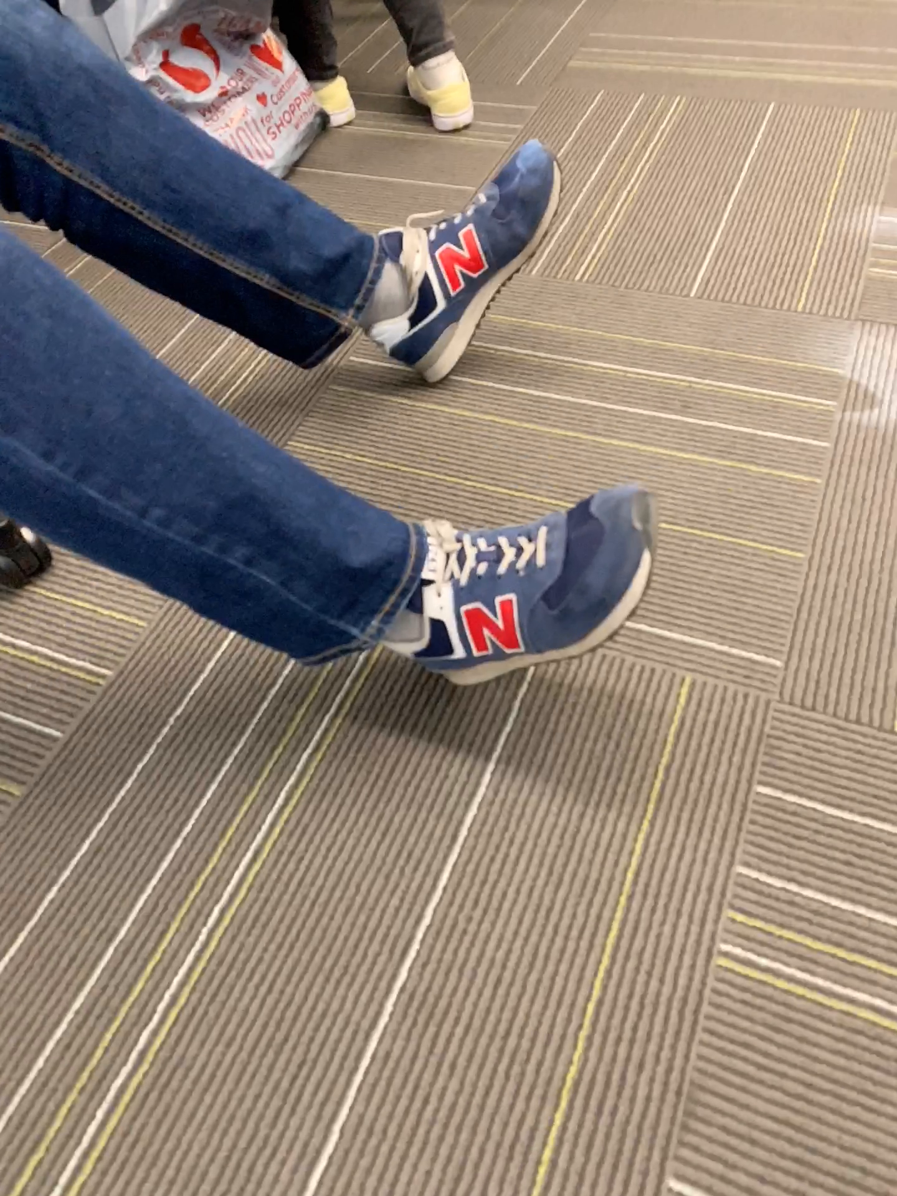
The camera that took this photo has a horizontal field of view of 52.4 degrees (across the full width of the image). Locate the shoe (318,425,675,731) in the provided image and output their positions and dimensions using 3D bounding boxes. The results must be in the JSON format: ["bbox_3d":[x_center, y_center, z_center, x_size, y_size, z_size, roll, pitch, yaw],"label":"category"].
[{"bbox_3d":[0.027,0.003,0.759,0.135,0.296,0.121,20,59,-29],"label":"shoe"}]

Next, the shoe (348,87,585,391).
[{"bbox_3d":[0.010,-0.407,1.063,0.095,0.302,0.115,16,39,-35],"label":"shoe"}]
